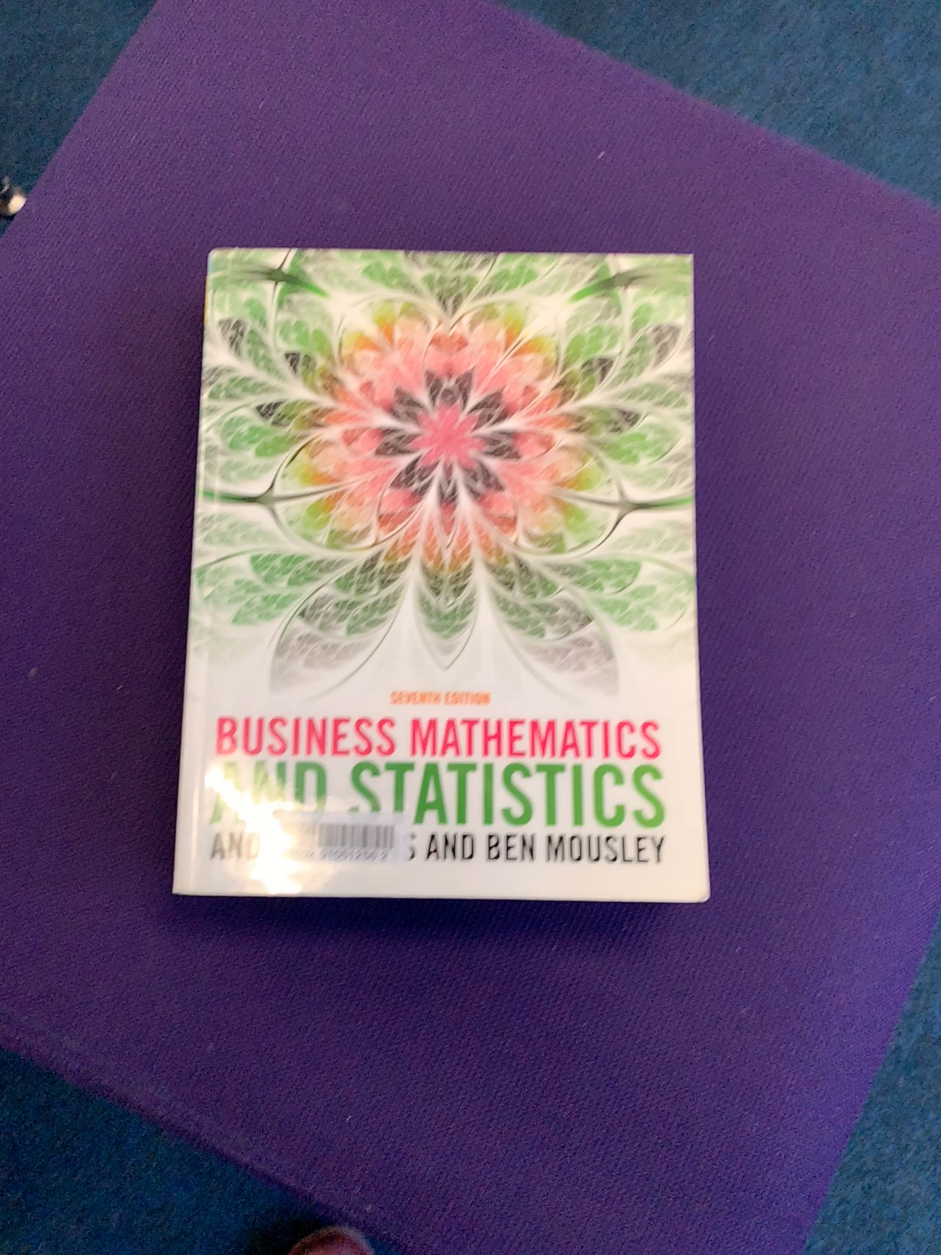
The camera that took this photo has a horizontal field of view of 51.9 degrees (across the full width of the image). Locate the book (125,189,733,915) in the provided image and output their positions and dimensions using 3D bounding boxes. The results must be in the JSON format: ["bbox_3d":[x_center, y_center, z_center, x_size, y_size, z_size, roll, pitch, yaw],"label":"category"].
[{"bbox_3d":[-0.013,-0.030,0.365,0.200,0.050,0.260,1,80,-1],"label":"book"}]
